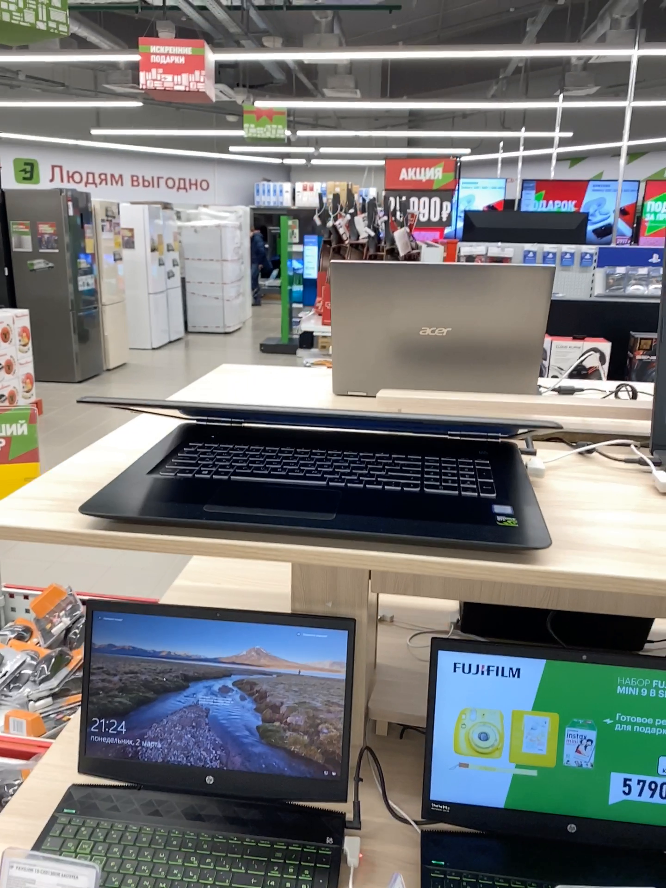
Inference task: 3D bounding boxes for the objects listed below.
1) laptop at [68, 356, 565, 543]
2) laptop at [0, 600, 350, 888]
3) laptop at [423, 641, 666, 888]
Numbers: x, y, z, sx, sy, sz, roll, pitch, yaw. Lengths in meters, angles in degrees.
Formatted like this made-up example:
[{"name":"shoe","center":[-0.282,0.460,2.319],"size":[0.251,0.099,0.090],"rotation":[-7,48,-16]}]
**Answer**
[{"name":"laptop","center":[-0.005,-0.014,0.683],"size":[0.404,0.083,0.271],"rotation":[3,18,7]},{"name":"laptop","center":[-0.167,0.365,0.751],"size":[0.344,0.220,0.315],"rotation":[4,16,5]},{"name":"laptop","center":[0.279,0.393,0.681],"size":[0.353,0.226,0.299],"rotation":[3,16,7]}]
